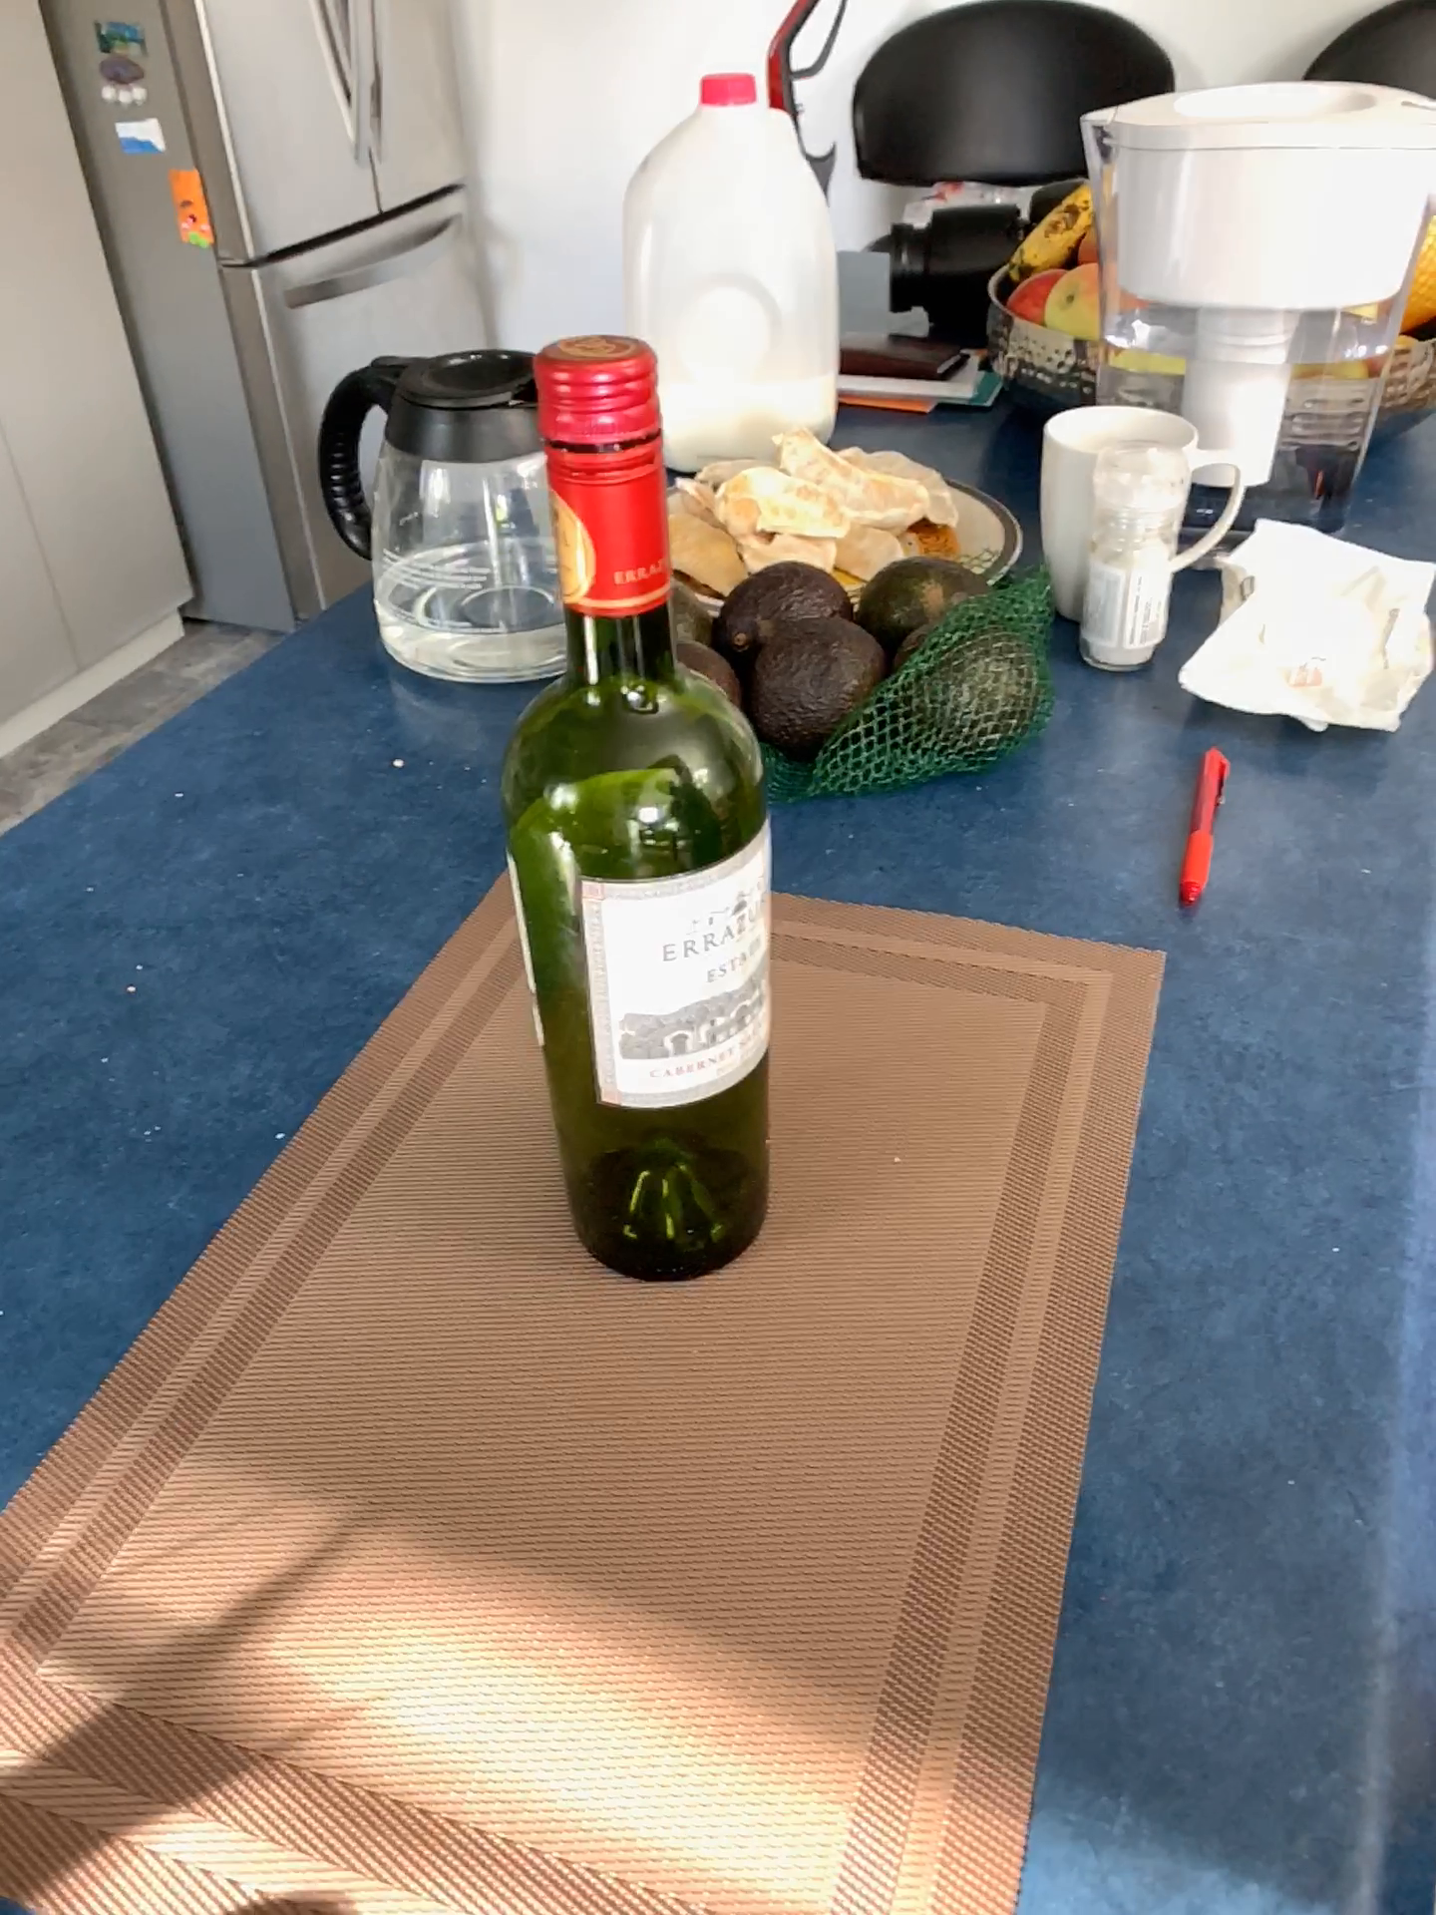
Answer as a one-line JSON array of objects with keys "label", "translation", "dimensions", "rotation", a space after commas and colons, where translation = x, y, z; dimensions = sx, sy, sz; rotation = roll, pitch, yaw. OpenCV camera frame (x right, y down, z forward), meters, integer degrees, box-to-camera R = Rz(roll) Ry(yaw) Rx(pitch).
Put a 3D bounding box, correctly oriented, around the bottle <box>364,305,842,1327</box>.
[{"label": "bottle", "translation": [-0.022, -0.028, 0.429], "dimensions": [0.080, 0.277, 0.080], "rotation": [-2, 37, 1]}]
